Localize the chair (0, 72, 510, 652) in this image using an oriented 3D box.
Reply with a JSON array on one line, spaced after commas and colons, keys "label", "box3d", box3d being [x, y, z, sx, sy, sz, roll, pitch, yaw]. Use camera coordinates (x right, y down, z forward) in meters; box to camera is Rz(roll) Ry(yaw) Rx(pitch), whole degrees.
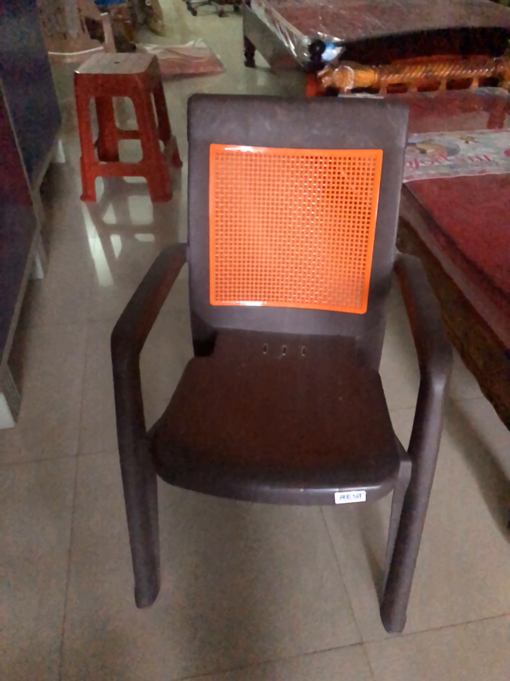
[{"label": "chair", "box3d": [0.016, 0.044, 1.174, 0.710, 0.935, 0.714, 3, 40, 4]}]
